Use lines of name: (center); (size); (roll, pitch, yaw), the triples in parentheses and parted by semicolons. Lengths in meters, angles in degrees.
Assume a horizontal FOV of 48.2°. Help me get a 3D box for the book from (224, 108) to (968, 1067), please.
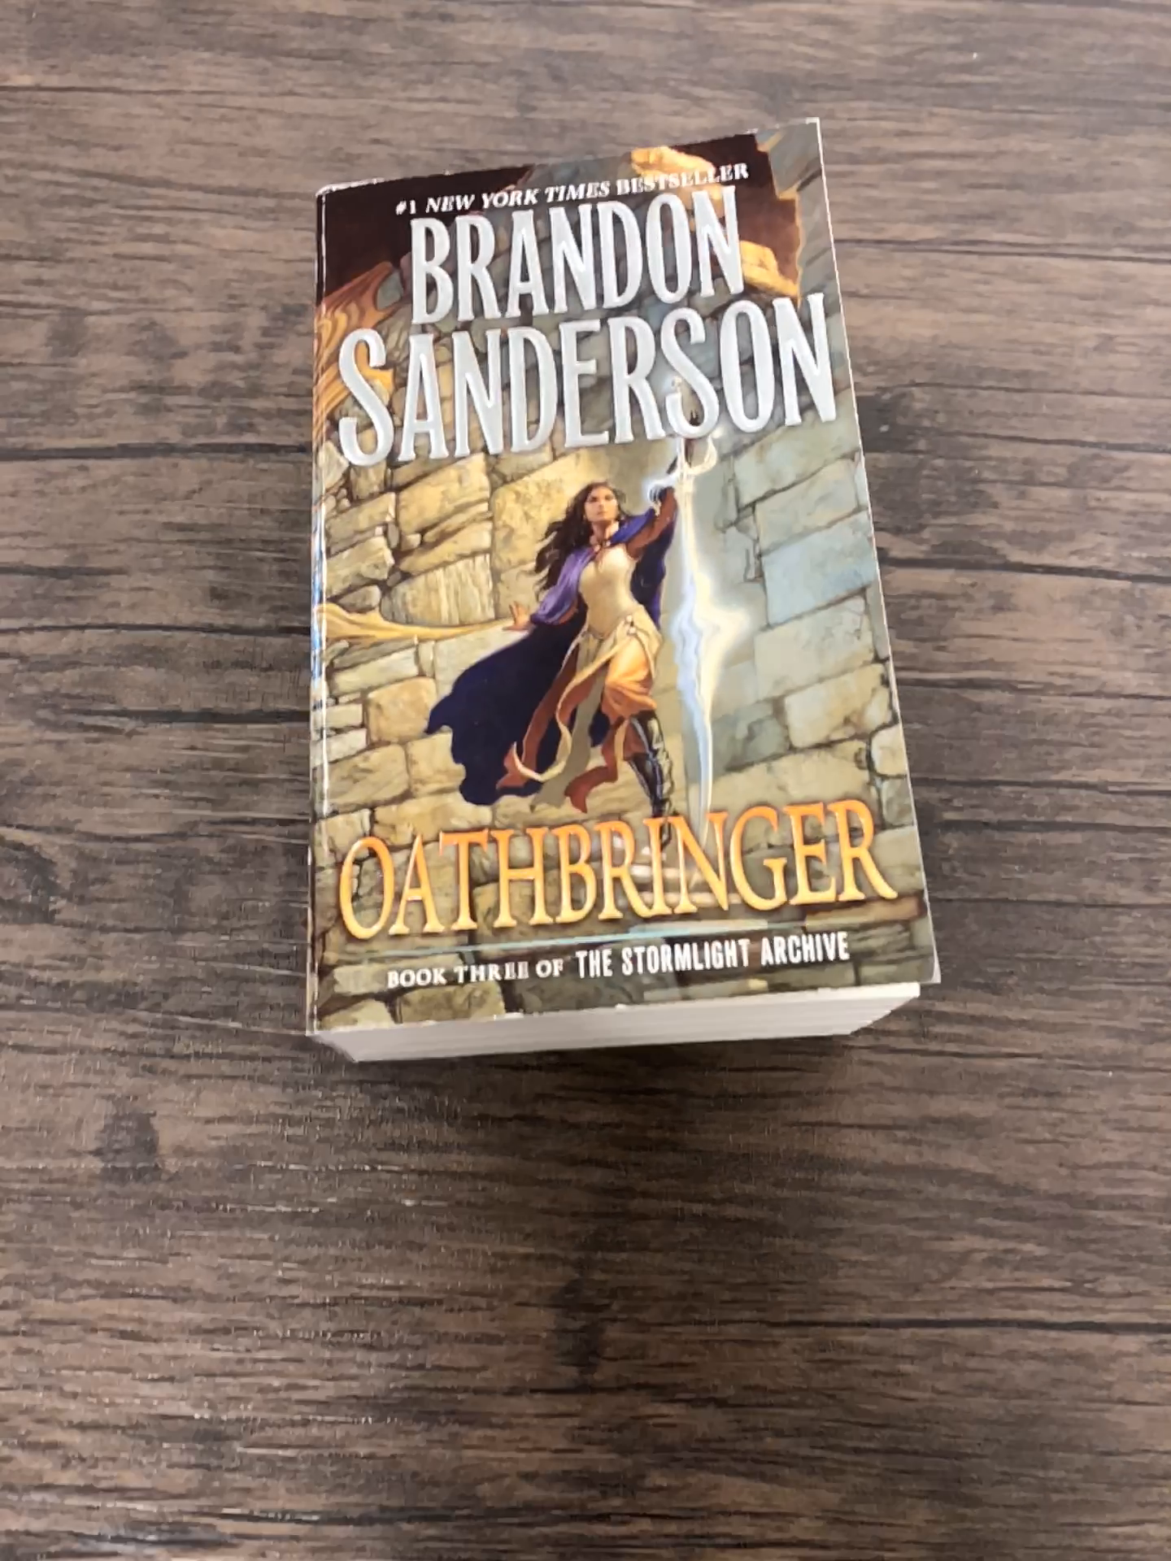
book: (-0.003, -0.036, 0.247); (0.111, 0.058, 0.167); (-2, 73, -3)
